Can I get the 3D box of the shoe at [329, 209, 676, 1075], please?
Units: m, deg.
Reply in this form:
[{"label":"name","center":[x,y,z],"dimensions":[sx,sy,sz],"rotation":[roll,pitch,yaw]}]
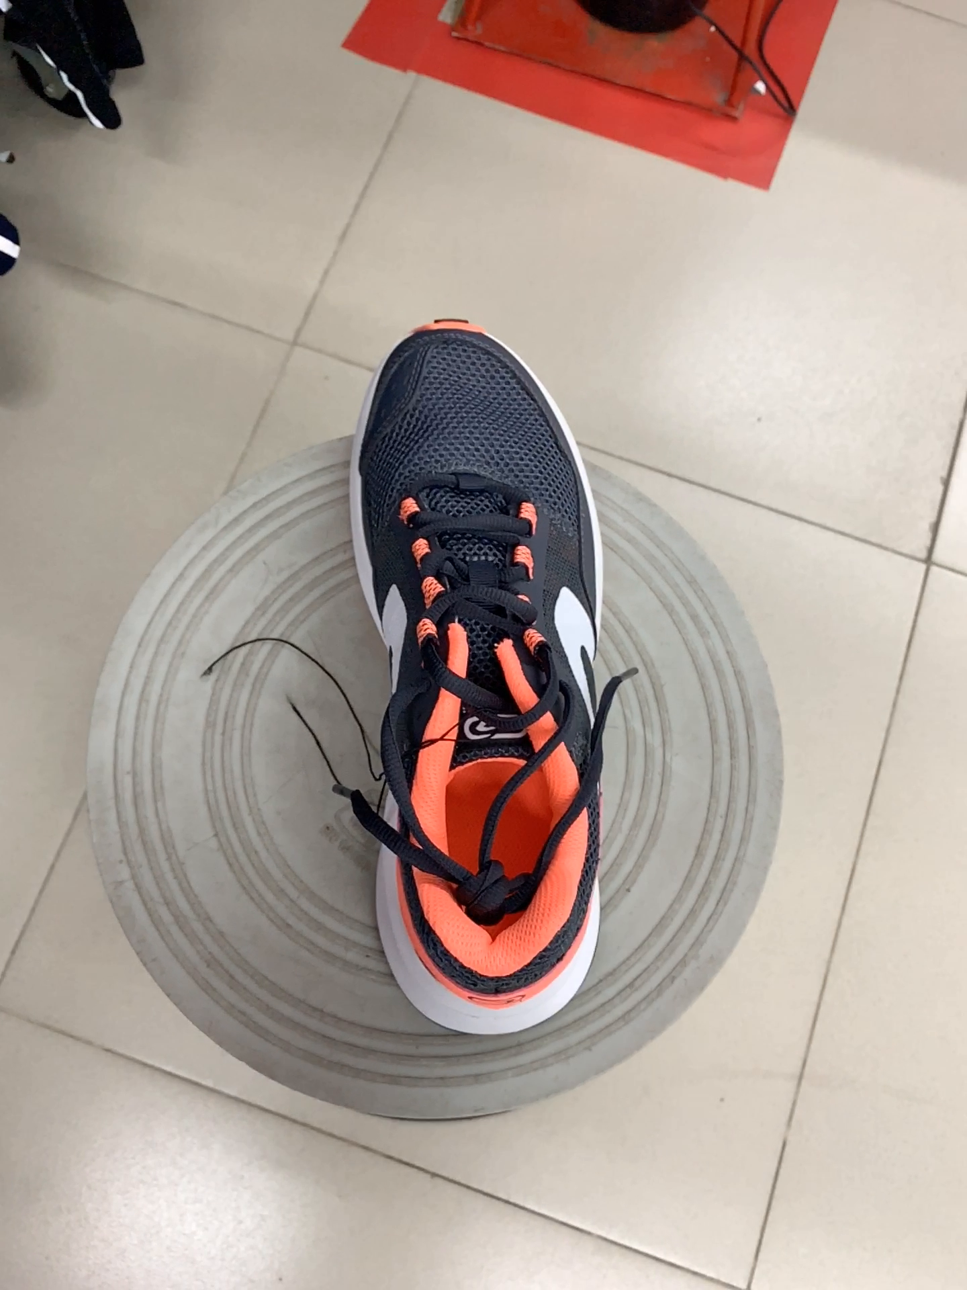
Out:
[{"label":"shoe","center":[-0.003,-0.003,0.384],"dimensions":[0.100,0.120,0.290],"rotation":[-2,75,-3]}]
